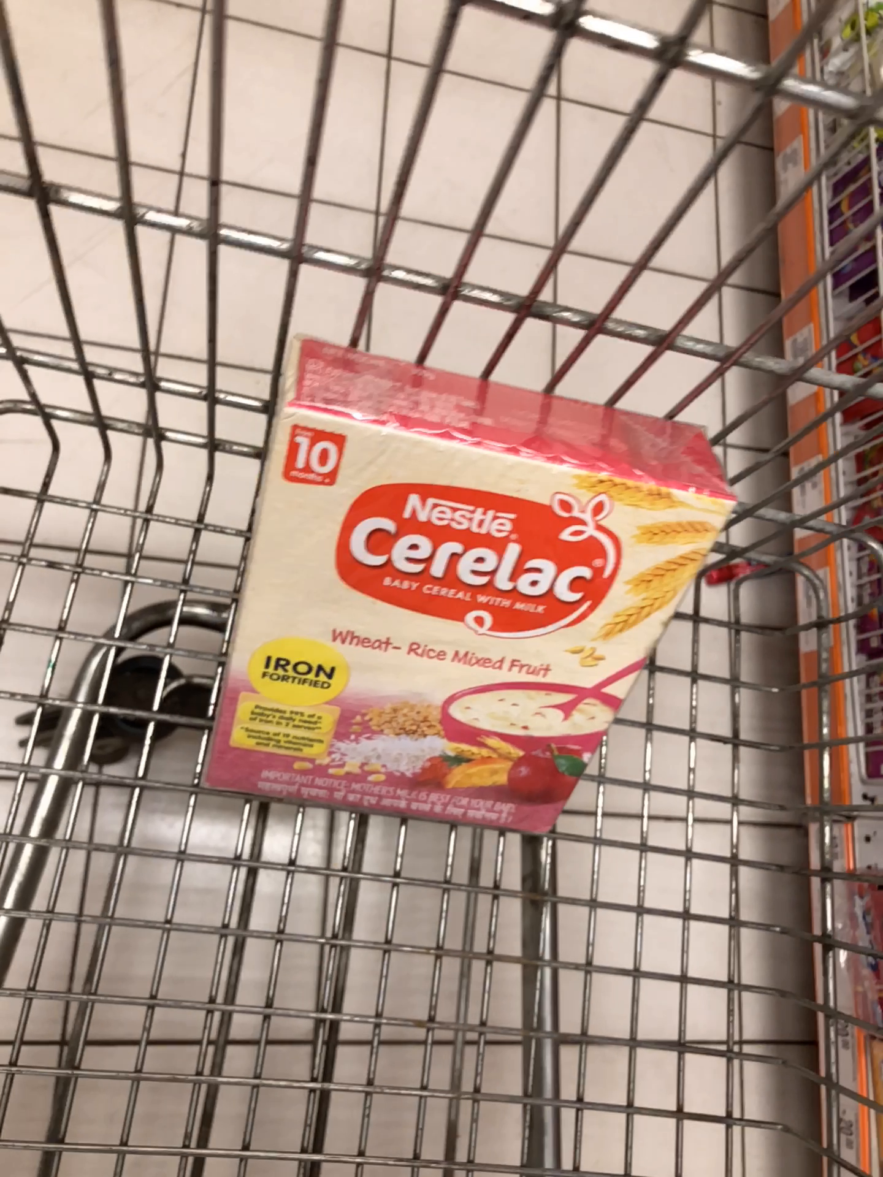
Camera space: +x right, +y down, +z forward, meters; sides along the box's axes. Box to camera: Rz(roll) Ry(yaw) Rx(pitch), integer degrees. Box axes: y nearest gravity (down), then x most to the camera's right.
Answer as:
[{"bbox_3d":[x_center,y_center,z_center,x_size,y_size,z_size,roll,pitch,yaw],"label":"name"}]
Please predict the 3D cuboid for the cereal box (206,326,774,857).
[{"bbox_3d":[0.004,0.015,0.364,0.150,0.179,0.060,10,39,-13],"label":"cereal box"}]
